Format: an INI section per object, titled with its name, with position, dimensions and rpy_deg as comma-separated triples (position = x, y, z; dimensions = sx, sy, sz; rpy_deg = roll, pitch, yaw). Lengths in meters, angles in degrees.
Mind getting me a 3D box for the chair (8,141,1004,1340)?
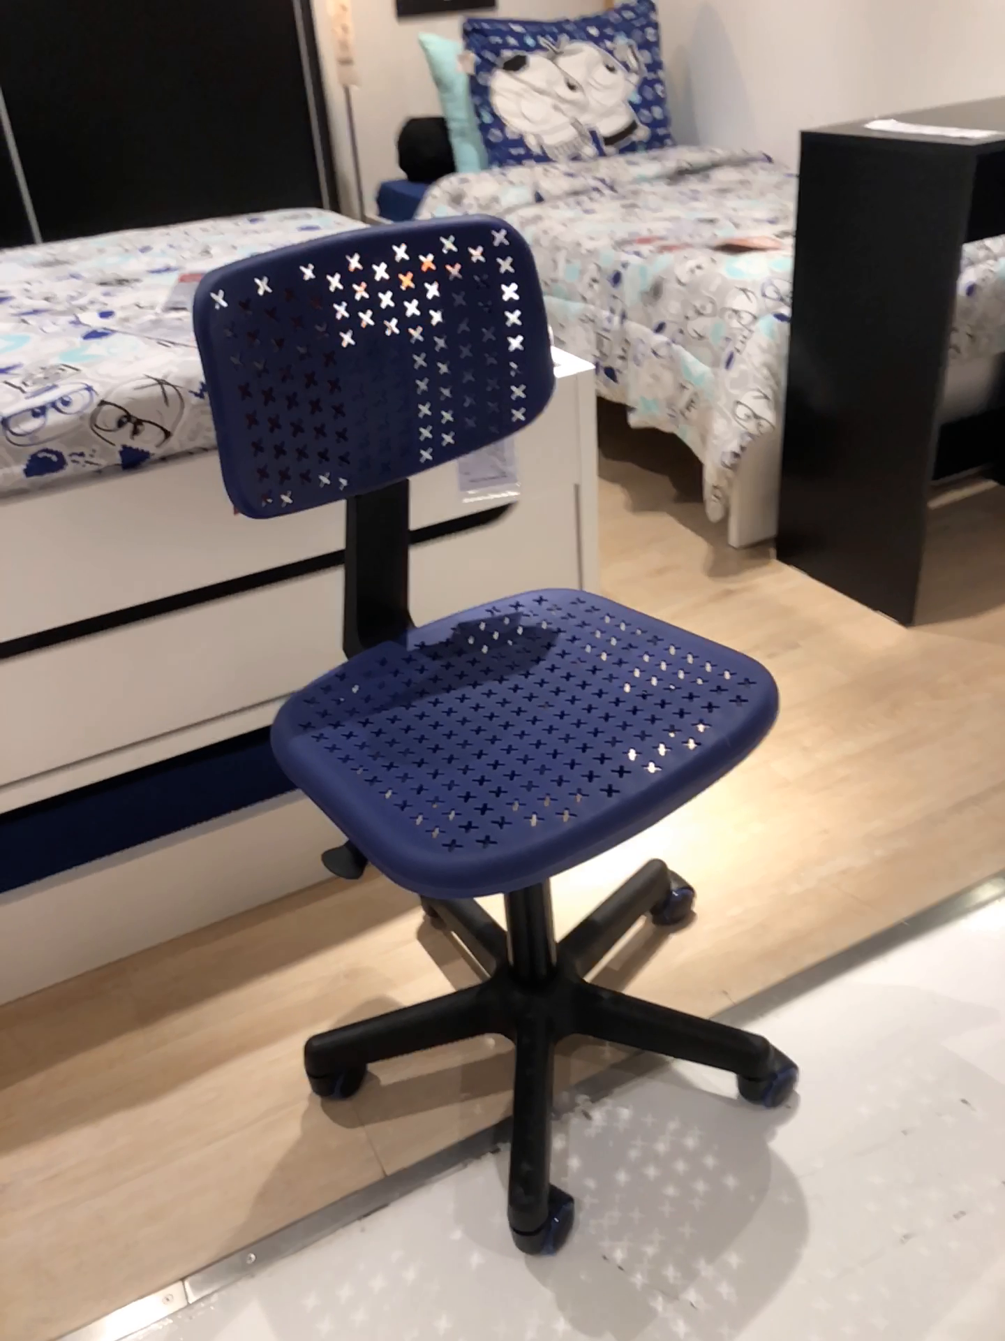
[chair]
position = 0.011, 0.022, 0.999
dimensions = 0.551, 0.814, 0.523
rpy_deg = -21, 35, -24
